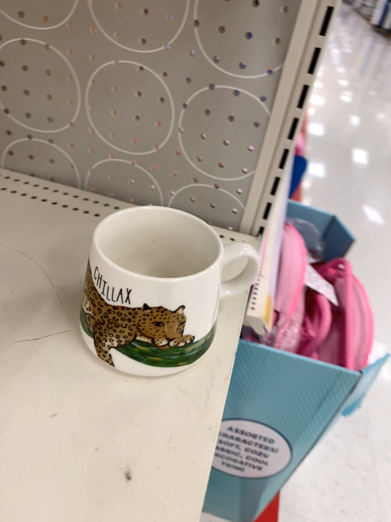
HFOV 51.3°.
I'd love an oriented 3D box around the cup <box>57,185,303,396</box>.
[{"bbox_3d":[-0.022,0.012,0.301,0.140,0.090,0.111,-5,39,-21],"label":"cup"}]
